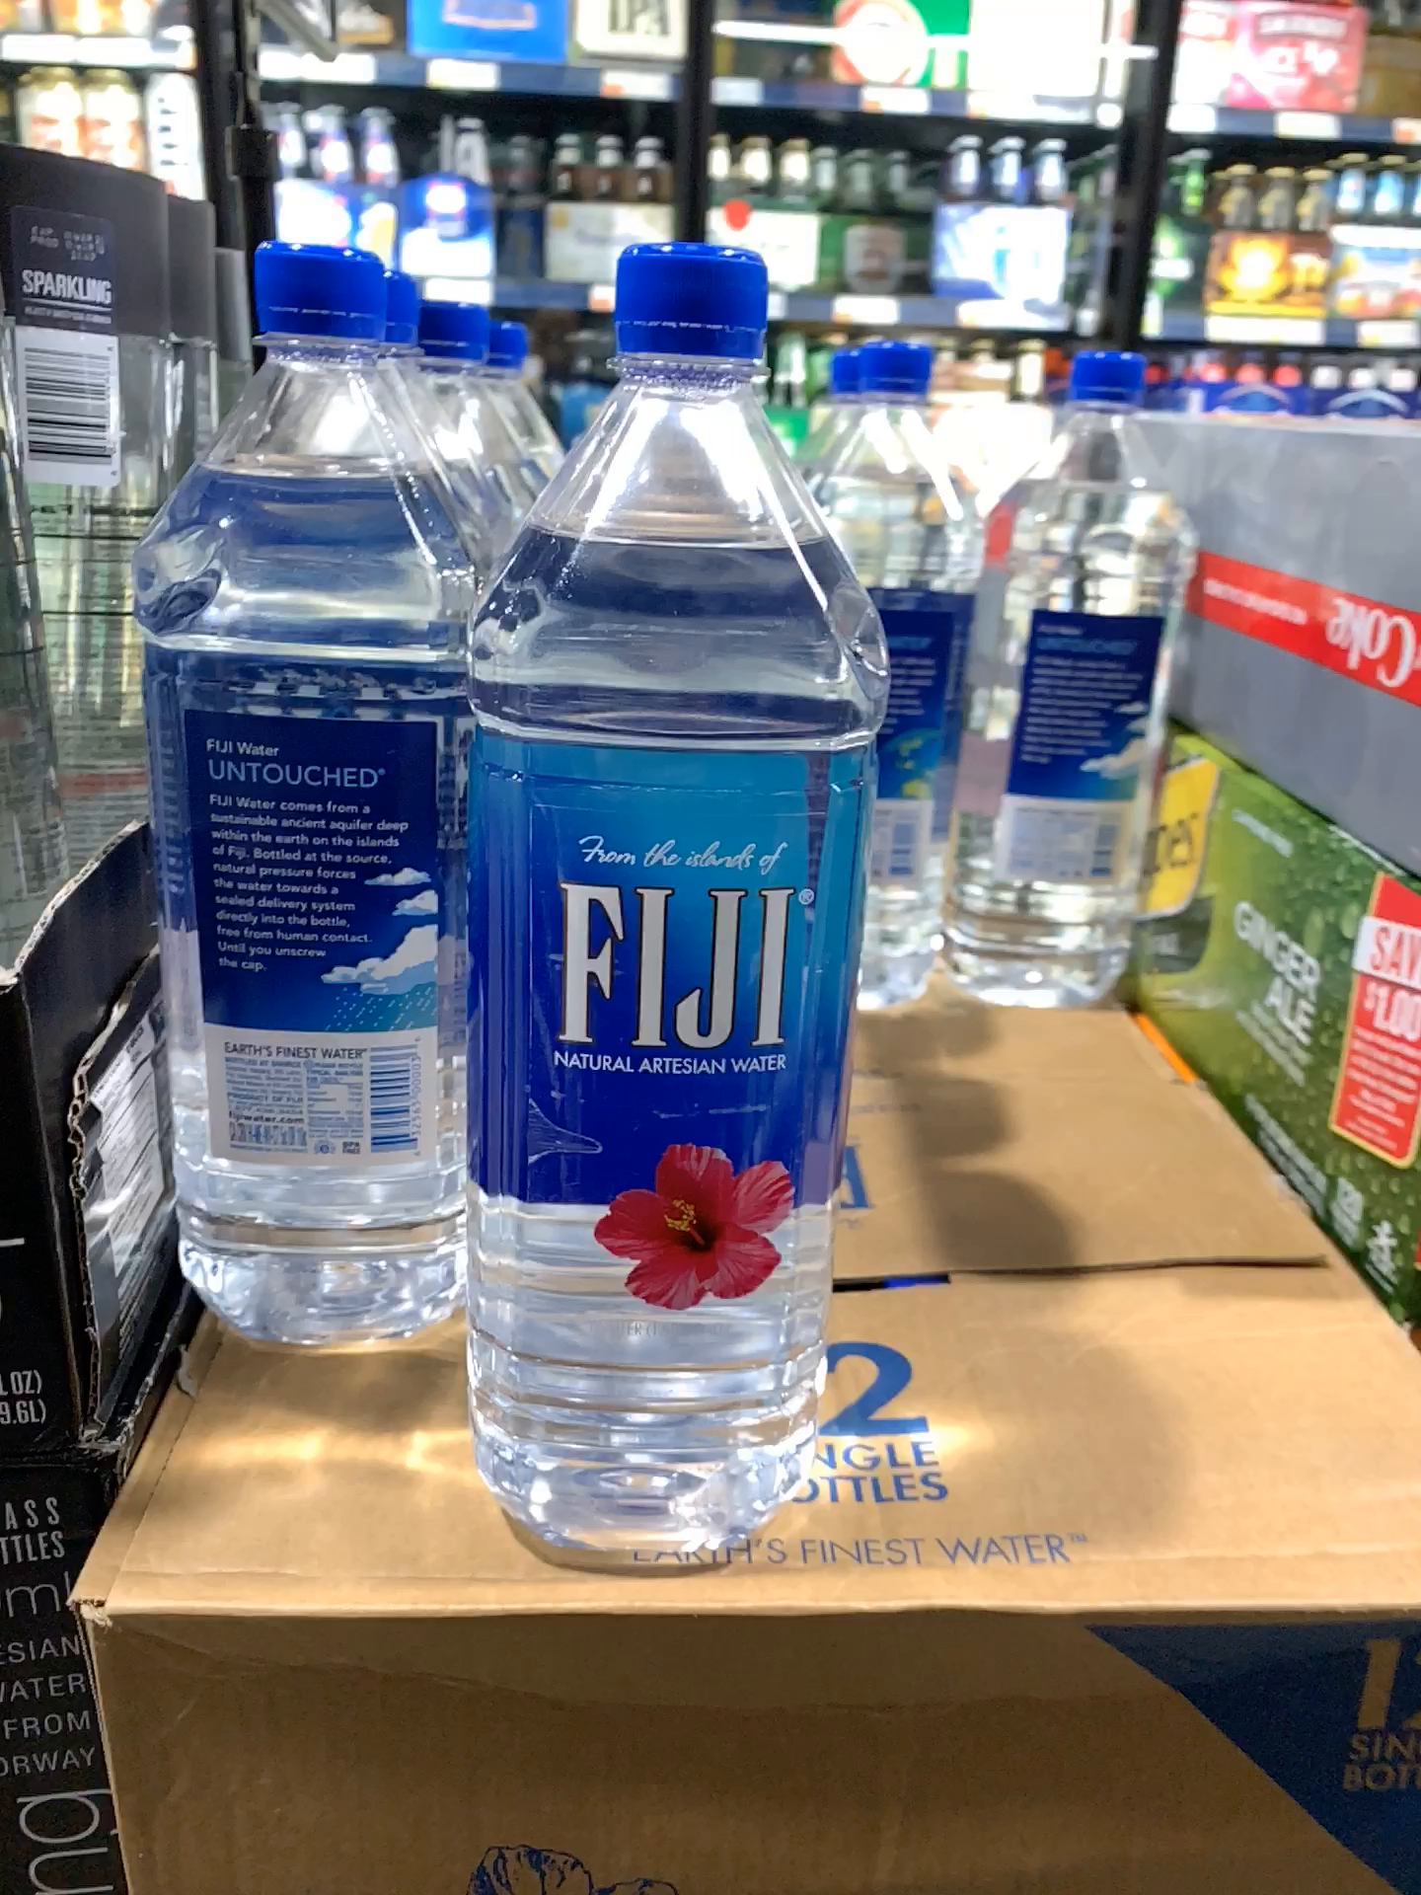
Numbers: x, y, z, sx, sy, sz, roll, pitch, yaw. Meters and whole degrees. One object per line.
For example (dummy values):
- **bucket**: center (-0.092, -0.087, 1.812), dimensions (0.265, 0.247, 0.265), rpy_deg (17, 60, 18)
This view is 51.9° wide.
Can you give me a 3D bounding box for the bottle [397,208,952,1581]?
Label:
- **bottle**: center (-0.011, -0.002, 0.323), dimensions (0.090, 0.279, 0.080), rpy_deg (3, 21, 0)
